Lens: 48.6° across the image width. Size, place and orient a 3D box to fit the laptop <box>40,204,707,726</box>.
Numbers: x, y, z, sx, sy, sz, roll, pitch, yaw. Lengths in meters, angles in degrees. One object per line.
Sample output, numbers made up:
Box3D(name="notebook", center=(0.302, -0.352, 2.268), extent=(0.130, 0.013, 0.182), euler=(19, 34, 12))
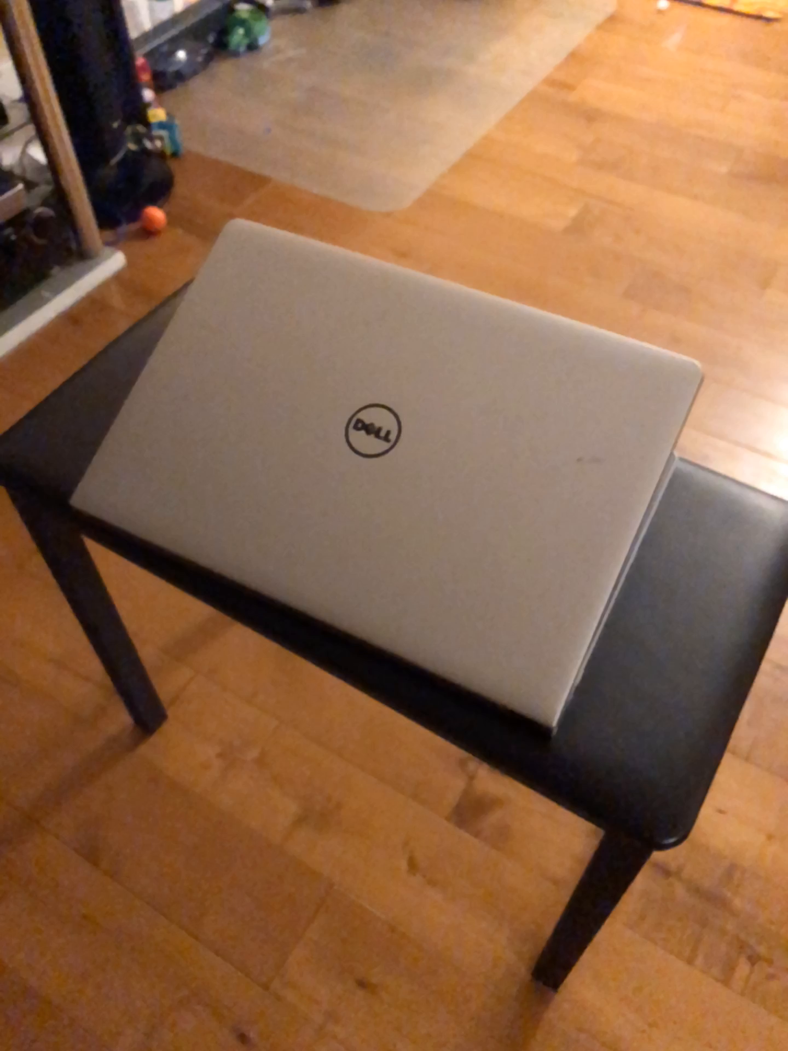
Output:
Box3D(name="laptop", center=(-0.010, -0.066, 0.610), extent=(0.366, 0.107, 0.248), euler=(22, 57, 18))
